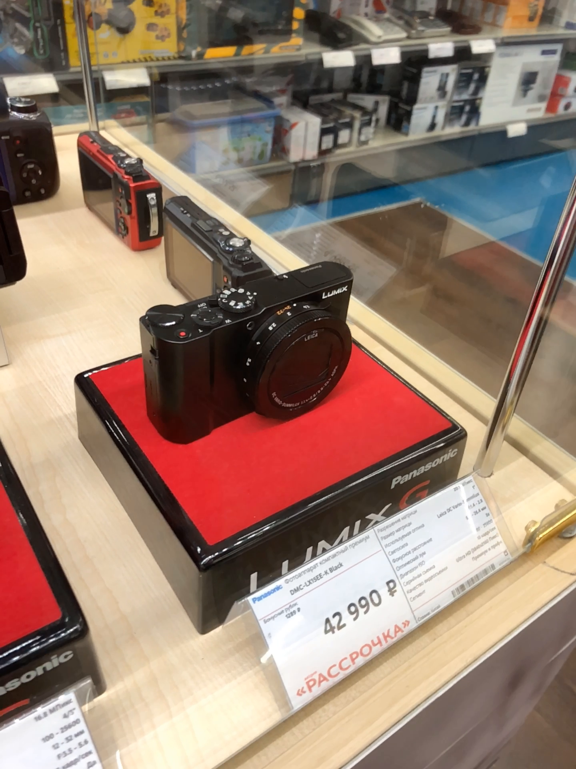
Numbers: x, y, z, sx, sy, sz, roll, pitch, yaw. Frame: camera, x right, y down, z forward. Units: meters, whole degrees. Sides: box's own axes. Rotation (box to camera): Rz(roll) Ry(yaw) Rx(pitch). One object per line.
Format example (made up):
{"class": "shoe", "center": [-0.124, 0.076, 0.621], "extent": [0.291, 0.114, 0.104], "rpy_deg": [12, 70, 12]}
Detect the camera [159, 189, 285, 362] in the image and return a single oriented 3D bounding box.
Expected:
{"class": "camera", "center": [-0.049, -0.078, 0.443], "extent": [0.033, 0.072, 0.110], "rpy_deg": [-19, 45, -28]}

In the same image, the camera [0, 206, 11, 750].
{"class": "camera", "center": [-0.160, 0.022, 0.191], "extent": [0.110, 0.112, 0.066], "rpy_deg": [-22, 46, -30]}

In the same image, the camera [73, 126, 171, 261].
{"class": "camera", "center": [-0.142, -0.165, 0.546], "extent": [0.033, 0.072, 0.110], "rpy_deg": [-21, 45, -29]}

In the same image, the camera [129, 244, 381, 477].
{"class": "camera", "center": [-0.014, -0.015, 0.306], "extent": [0.110, 0.070, 0.040], "rpy_deg": [-23, 47, -32]}
